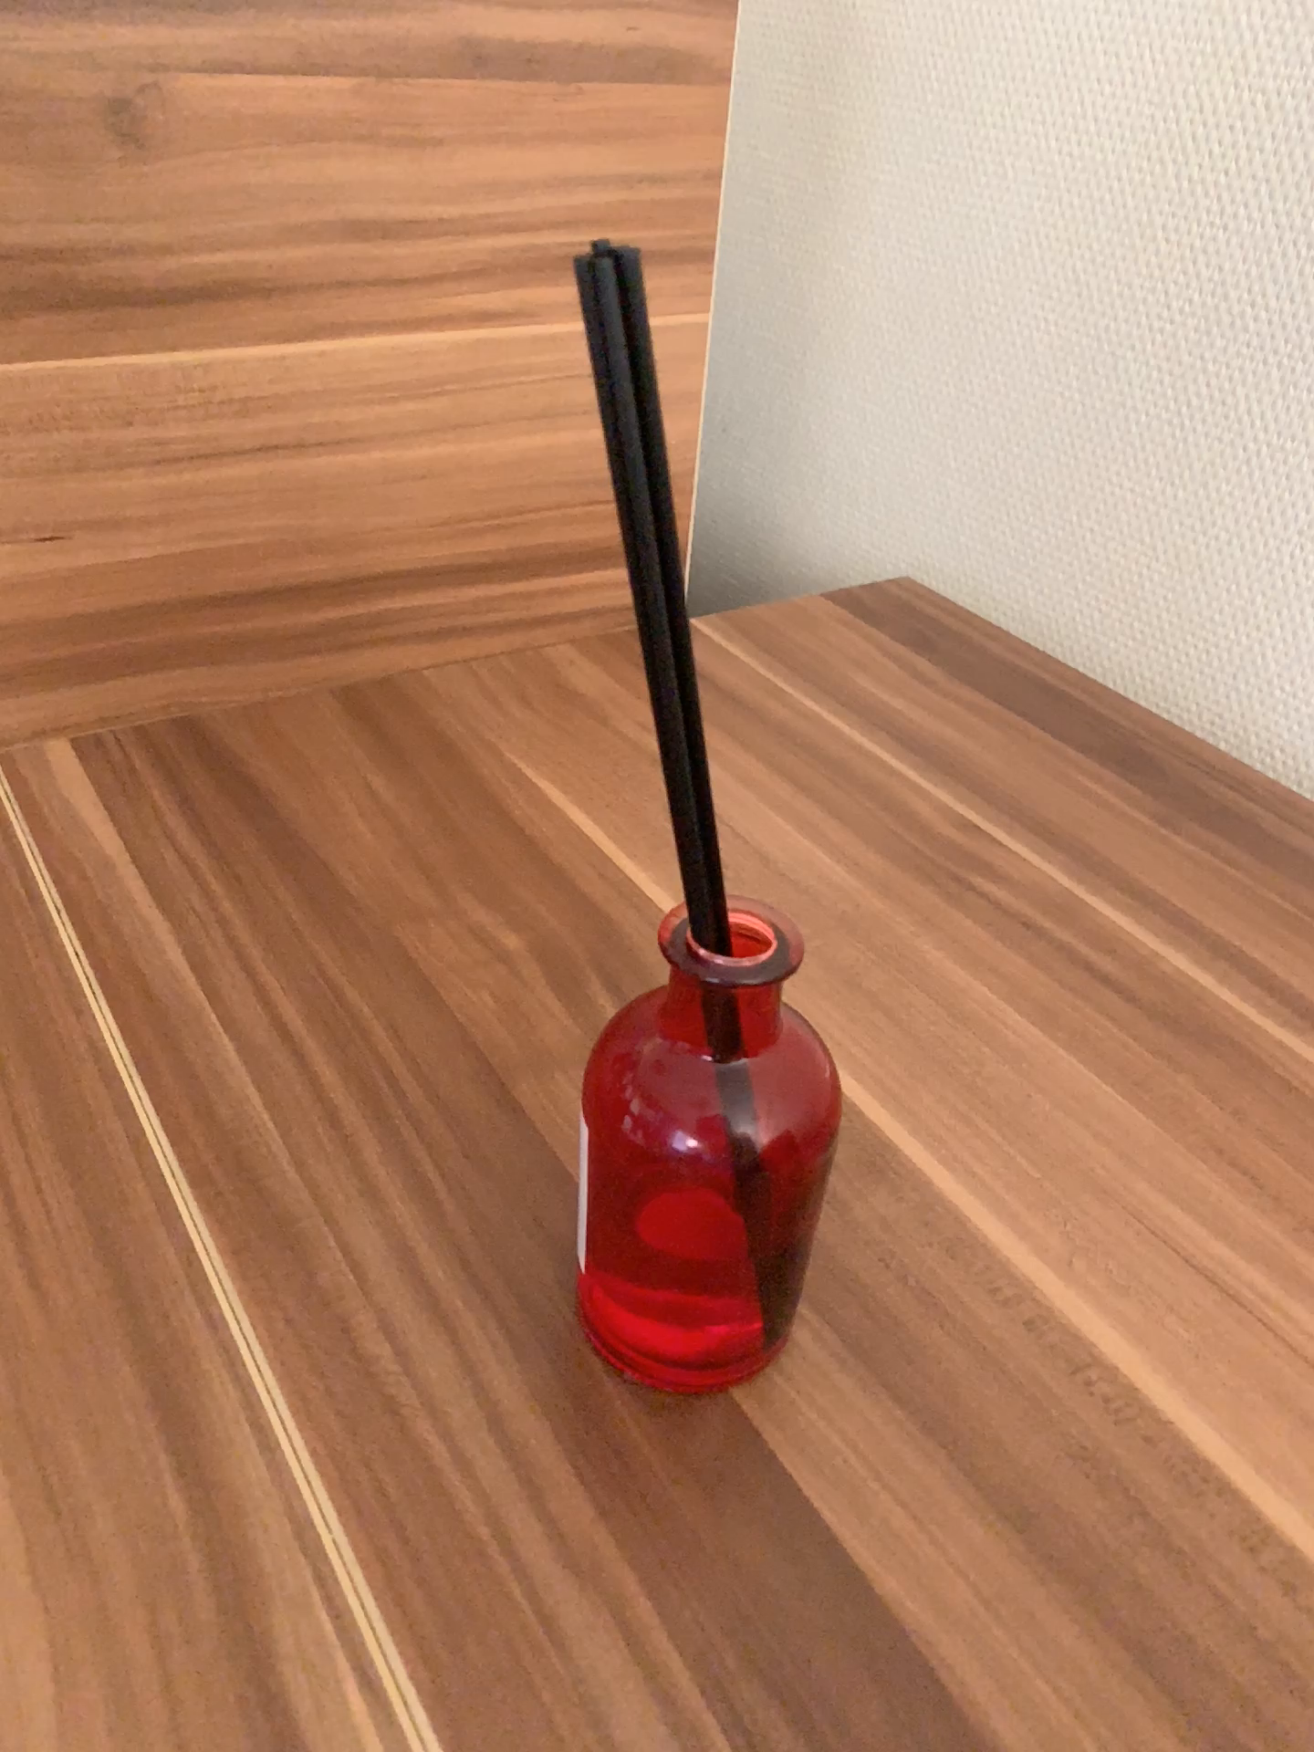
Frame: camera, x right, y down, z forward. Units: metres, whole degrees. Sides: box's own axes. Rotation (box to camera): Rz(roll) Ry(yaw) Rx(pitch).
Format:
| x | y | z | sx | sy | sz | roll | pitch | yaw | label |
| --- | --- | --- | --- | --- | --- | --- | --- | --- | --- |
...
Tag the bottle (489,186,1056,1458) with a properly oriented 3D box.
| x | y | z | sx | sy | sz | roll | pitch | yaw | label |
| --- | --- | --- | --- | --- | --- | --- | --- | --- | --- |
| 0.006 | 0.008 | 0.254 | 0.060 | 0.239 | 0.050 | -13 | 39 | -25 | bottle |
